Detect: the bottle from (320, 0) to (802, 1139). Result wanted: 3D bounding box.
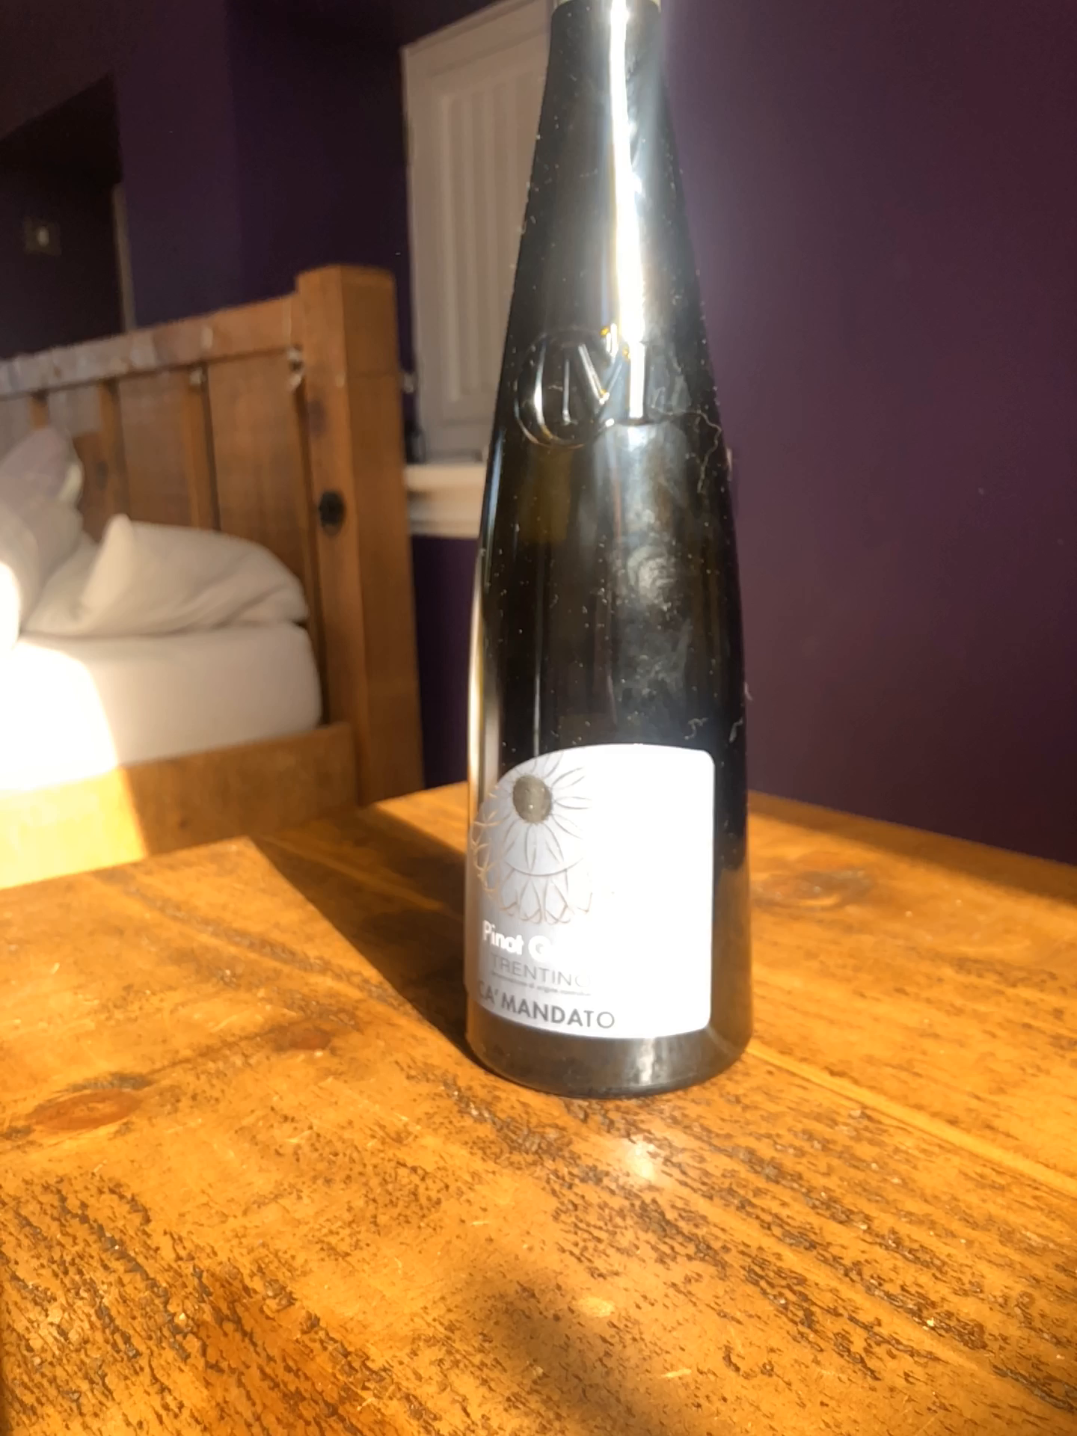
[{"bbox_3d":[0.015,-0.069,0.348,0.100,0.339,0.100,-1,10,0],"label":"bottle"}]
